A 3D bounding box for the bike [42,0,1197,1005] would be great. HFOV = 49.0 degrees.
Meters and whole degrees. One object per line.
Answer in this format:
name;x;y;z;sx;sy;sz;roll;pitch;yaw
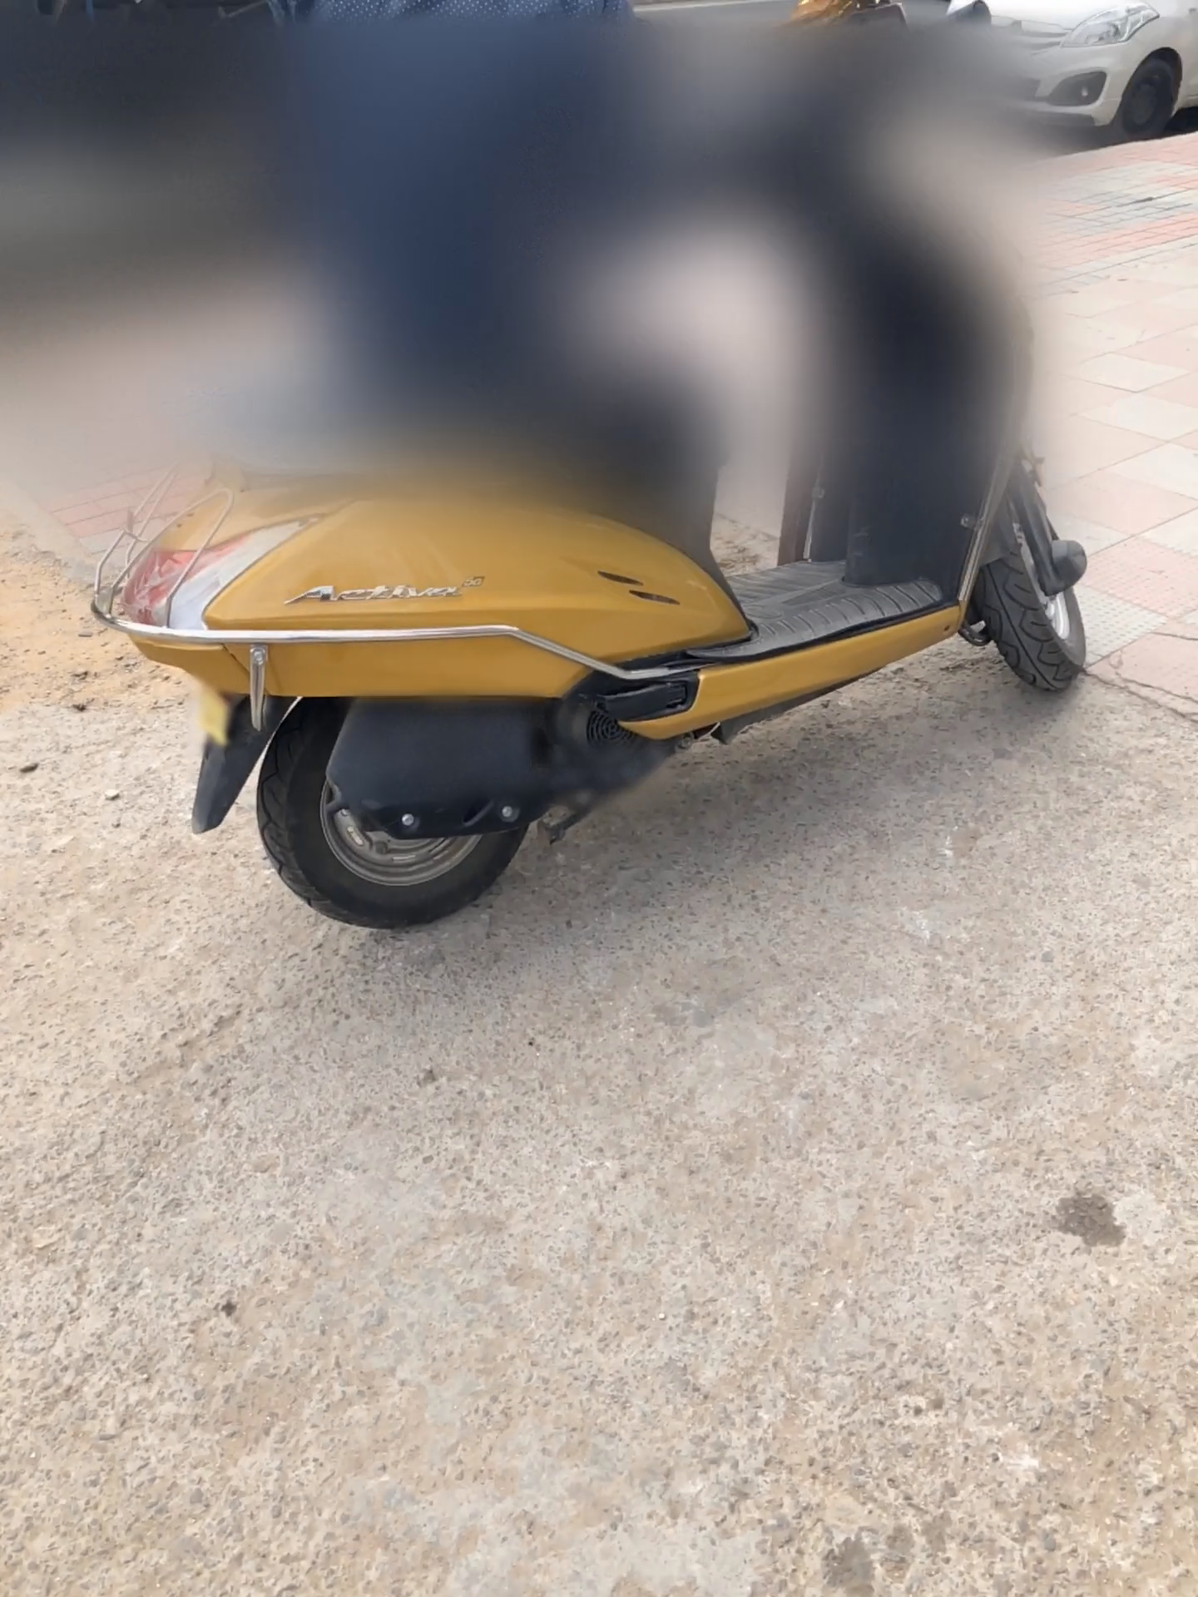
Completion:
bike;0.108;-0.635;2.026;1.531;1.153;0.586;-24;42;-25
